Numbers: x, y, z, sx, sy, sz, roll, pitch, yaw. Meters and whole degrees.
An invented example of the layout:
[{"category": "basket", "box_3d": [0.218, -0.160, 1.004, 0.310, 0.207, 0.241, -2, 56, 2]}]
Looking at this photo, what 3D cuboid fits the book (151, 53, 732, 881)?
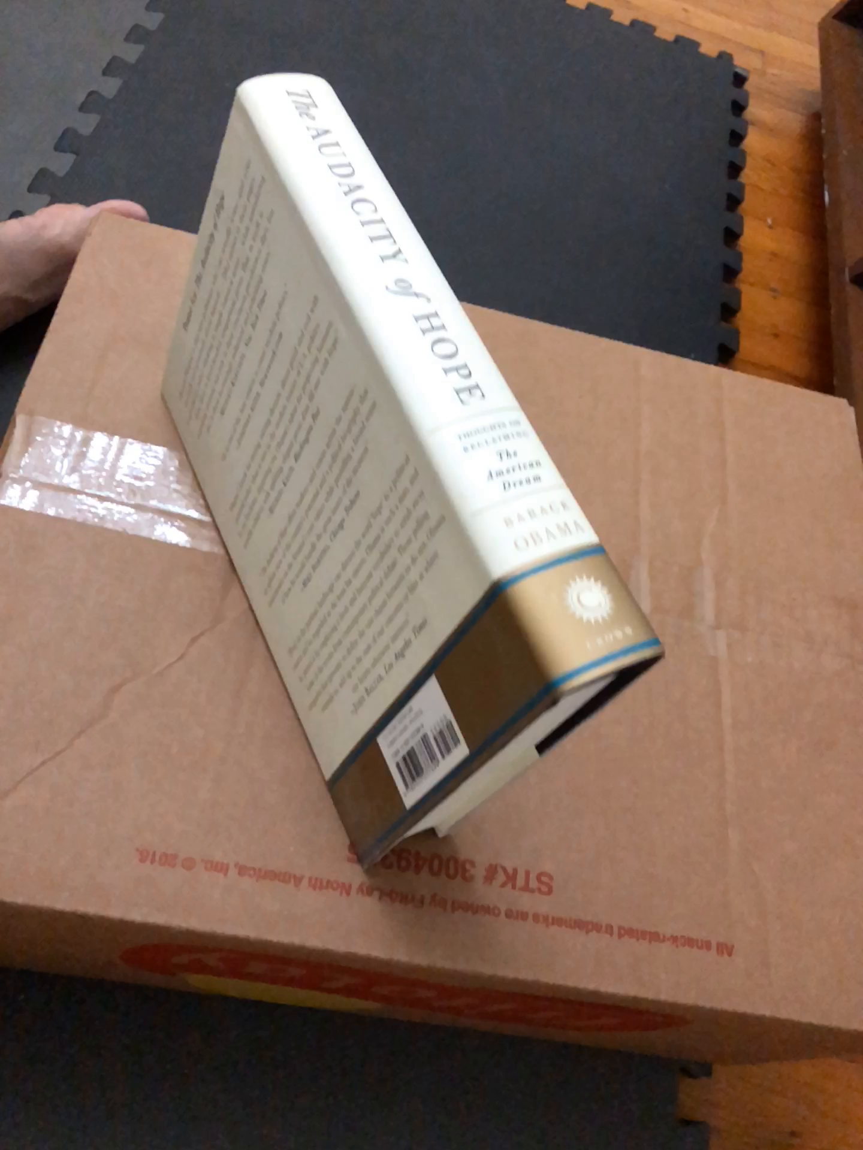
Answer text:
[{"category": "book", "box_3d": [-0.024, -0.035, 0.364, 0.060, 0.169, 0.251, -13, 66, -33]}]
